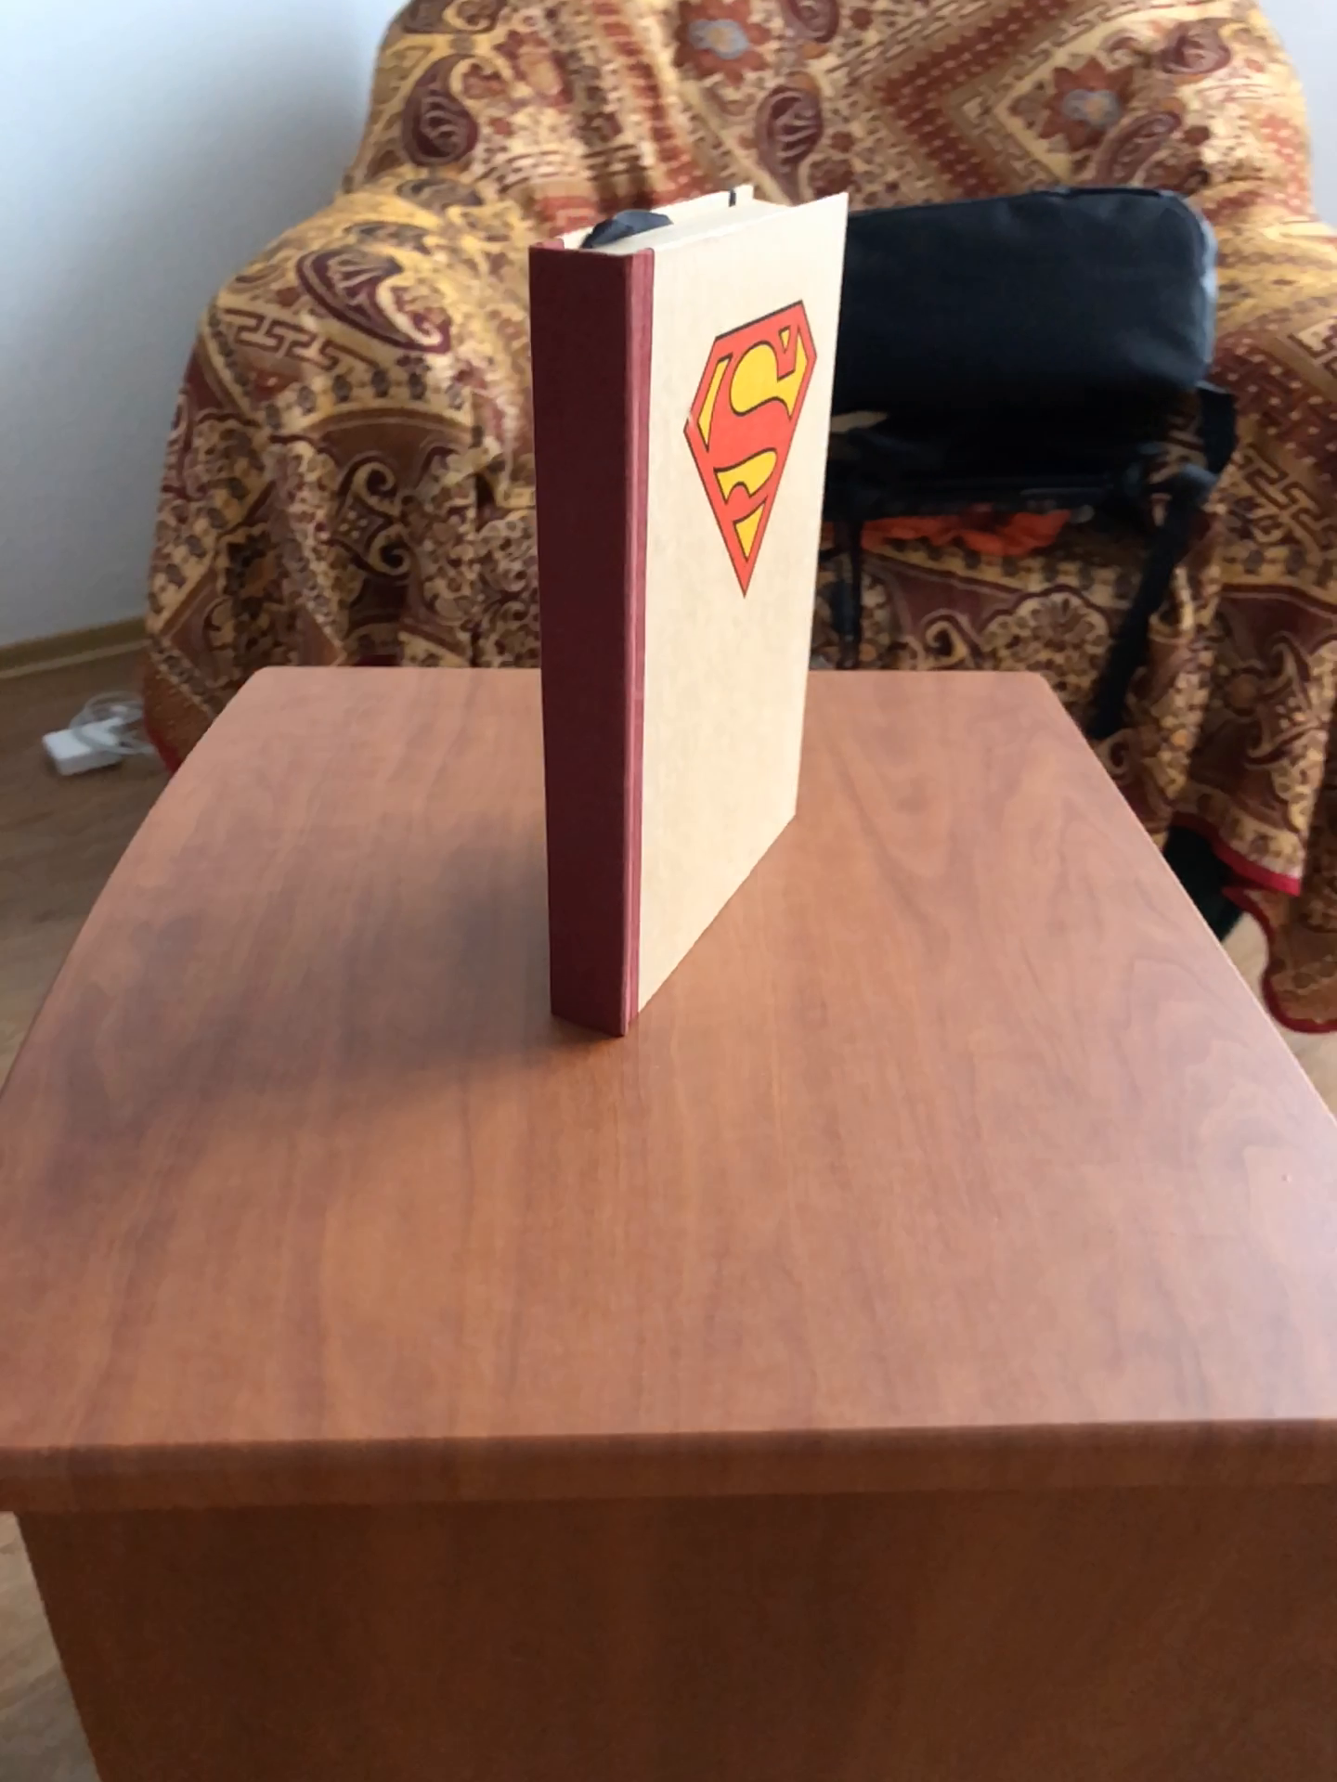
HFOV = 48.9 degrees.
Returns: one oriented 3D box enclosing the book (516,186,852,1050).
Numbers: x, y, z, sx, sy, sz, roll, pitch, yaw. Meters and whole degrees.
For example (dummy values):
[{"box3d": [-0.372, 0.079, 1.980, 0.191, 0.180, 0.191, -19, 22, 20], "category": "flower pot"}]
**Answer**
[{"box3d": [0.007, -0.085, 0.437, 0.032, 0.212, 0.155, 13, 33, 18], "category": "book"}]
